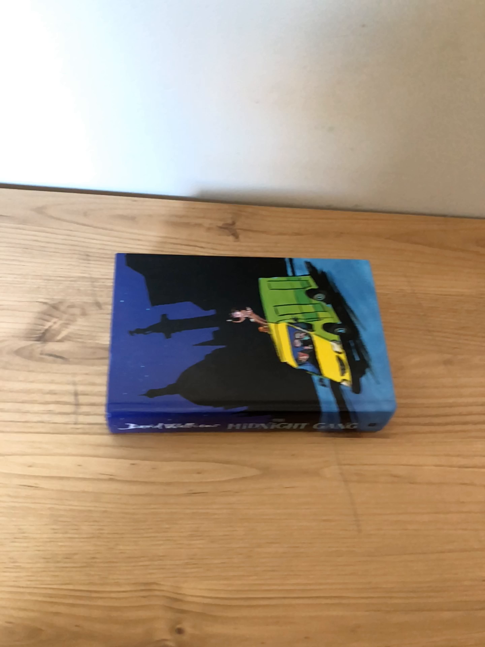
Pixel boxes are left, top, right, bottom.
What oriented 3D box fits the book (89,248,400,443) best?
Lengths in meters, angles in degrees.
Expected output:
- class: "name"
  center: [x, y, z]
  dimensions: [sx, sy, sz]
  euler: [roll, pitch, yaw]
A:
- class: "book"
  center: [-0.001, 0.018, 0.467]
  dimensions: [0.237, 0.060, 0.153]
  euler: [0, 64, -7]
